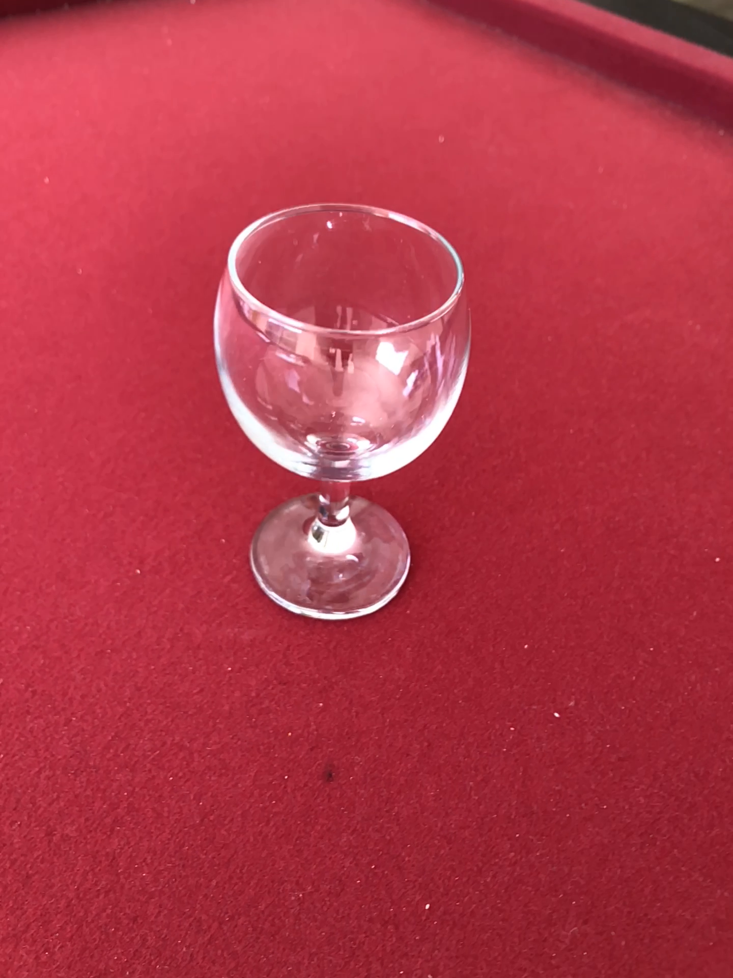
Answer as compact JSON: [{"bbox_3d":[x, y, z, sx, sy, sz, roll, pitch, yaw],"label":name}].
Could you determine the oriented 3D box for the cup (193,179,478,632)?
[{"bbox_3d":[-0.010,-0.023,0.279,0.070,0.129,0.070,3,46,-3],"label":"cup"}]
